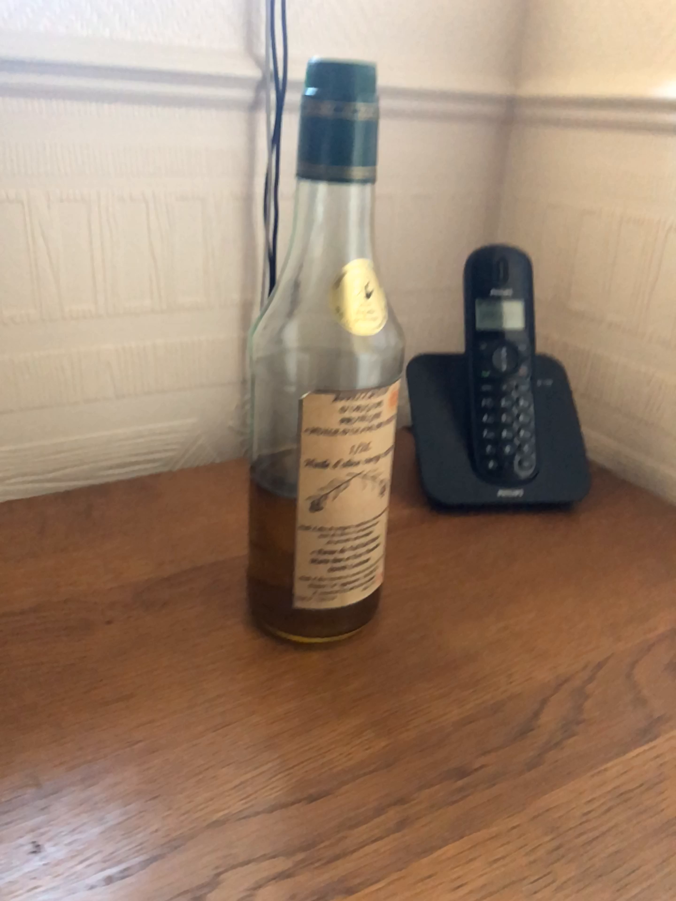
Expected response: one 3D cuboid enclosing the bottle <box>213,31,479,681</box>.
[{"bbox_3d":[-0.006,-0.035,0.335,0.070,0.259,0.080,-10,27,-28],"label":"bottle"}]
